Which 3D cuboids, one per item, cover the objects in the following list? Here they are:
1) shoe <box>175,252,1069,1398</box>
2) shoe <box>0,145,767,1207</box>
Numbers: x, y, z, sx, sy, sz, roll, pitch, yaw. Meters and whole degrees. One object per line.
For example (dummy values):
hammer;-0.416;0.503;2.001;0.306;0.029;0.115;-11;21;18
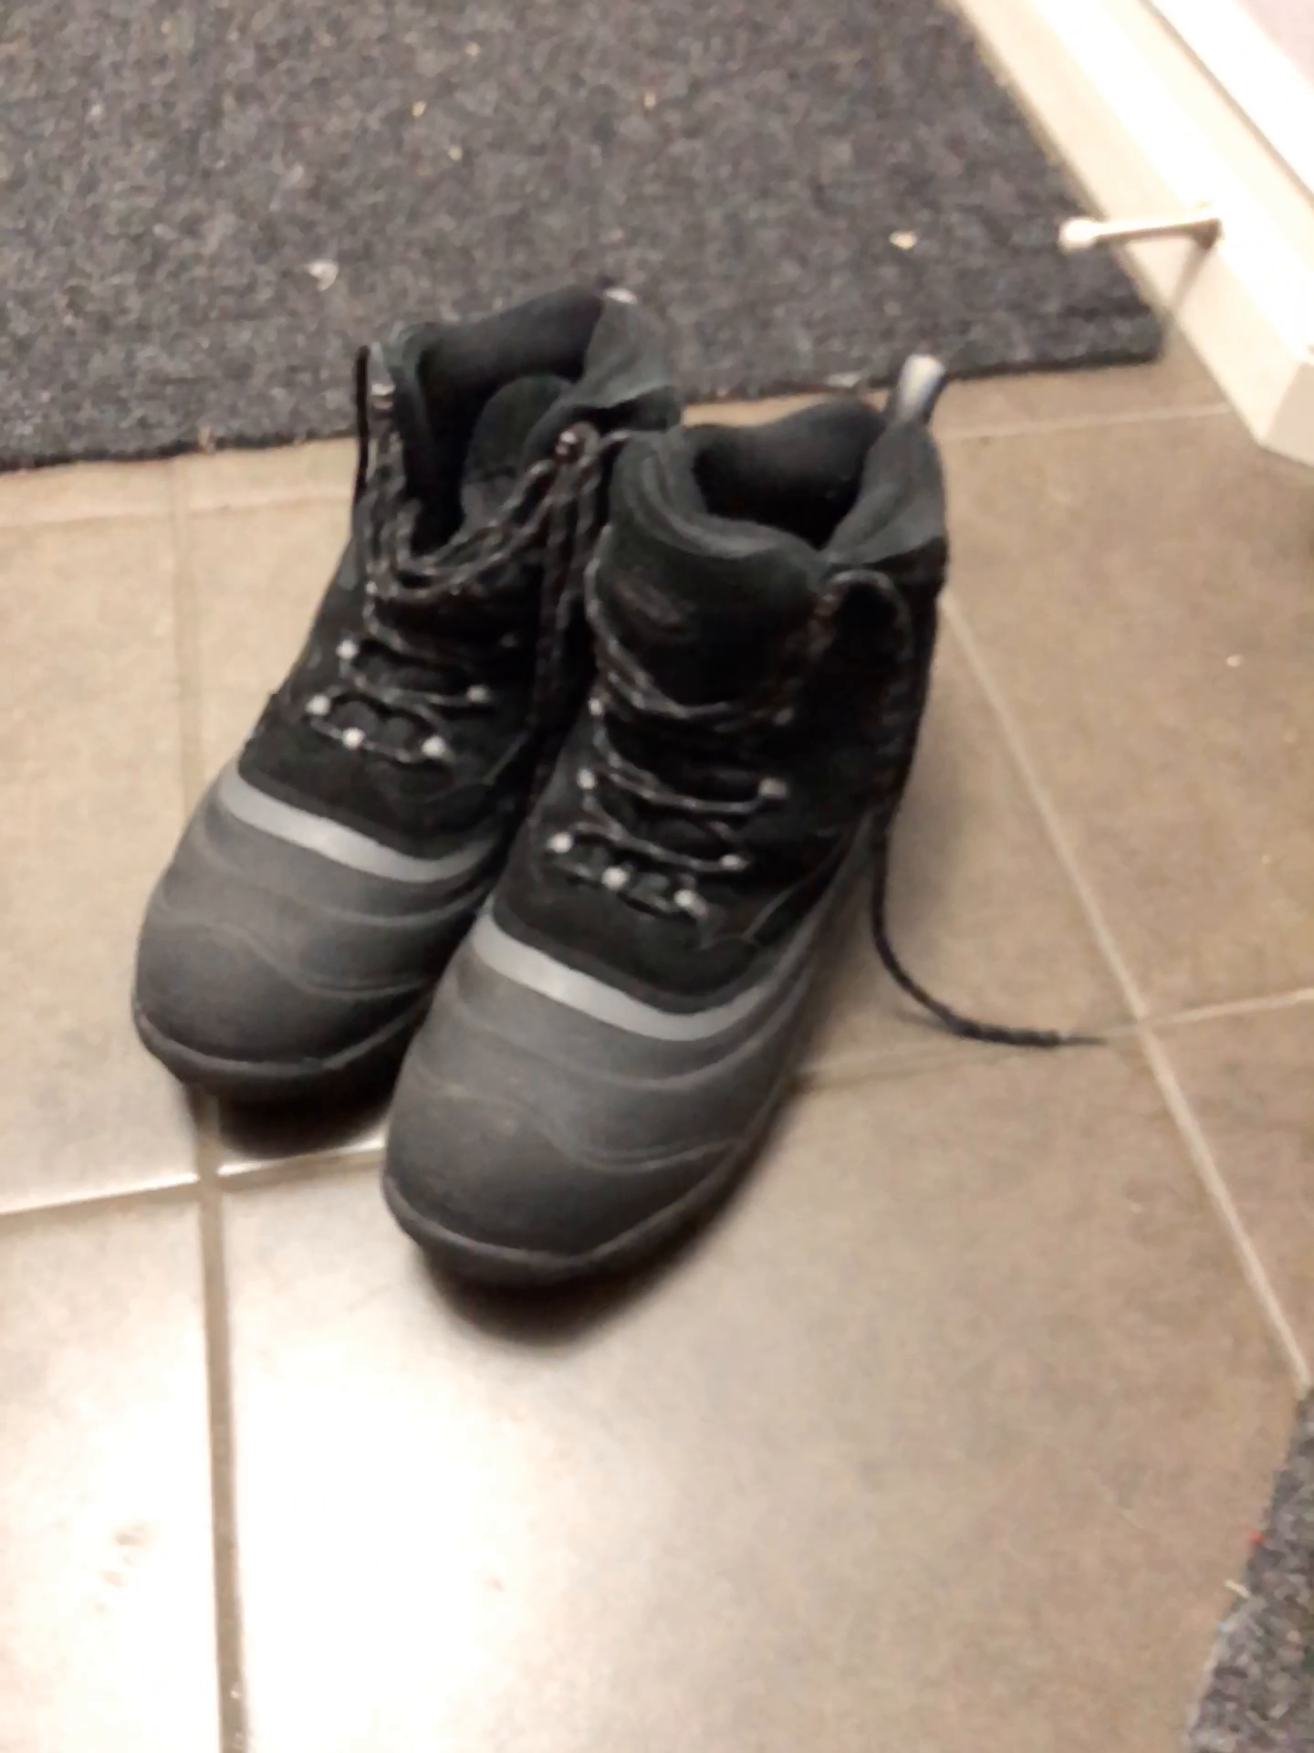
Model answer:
shoe;0.005;-0.021;0.474;0.120;0.200;0.290;23;56;13
shoe;-0.088;-0.073;0.508;0.120;0.200;0.290;24;56;13
